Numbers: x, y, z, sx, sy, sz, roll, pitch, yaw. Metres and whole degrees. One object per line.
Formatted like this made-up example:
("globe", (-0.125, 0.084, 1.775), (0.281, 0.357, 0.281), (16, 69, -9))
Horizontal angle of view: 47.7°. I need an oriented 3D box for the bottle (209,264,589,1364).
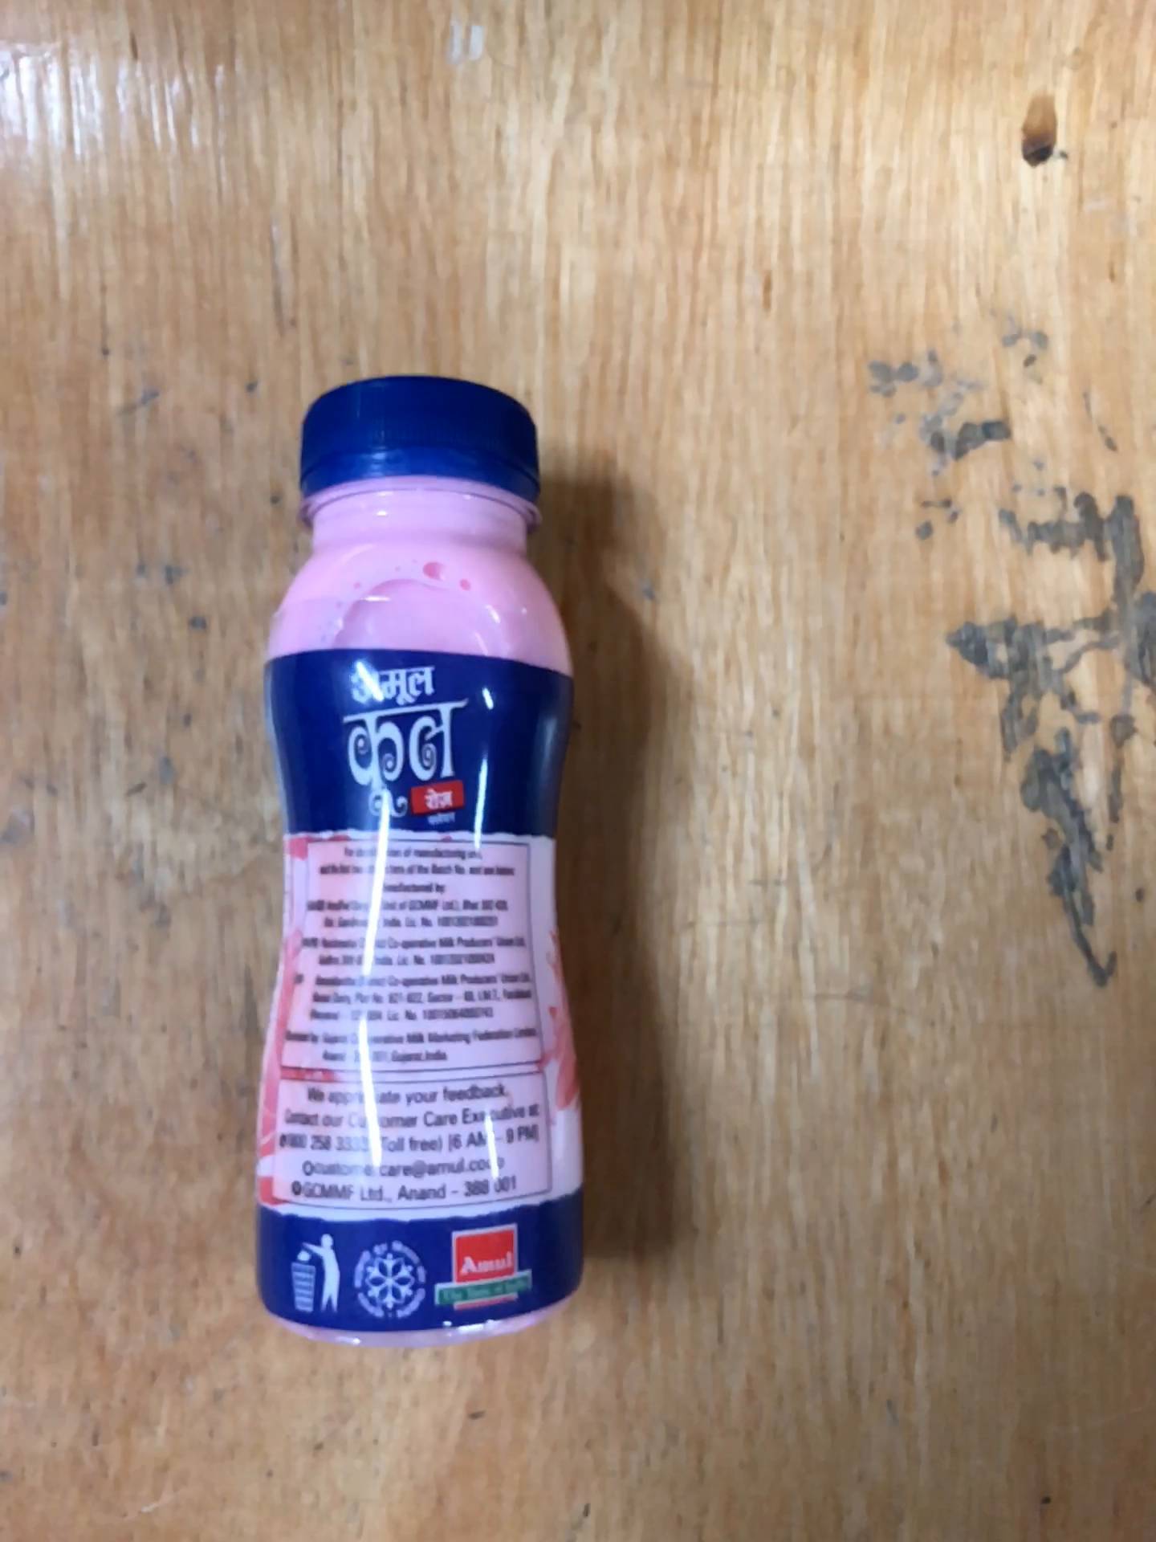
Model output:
("bottle", (-0.026, 0.004, 0.199), (0.050, 0.040, 0.150), (-1, 85, -4))
